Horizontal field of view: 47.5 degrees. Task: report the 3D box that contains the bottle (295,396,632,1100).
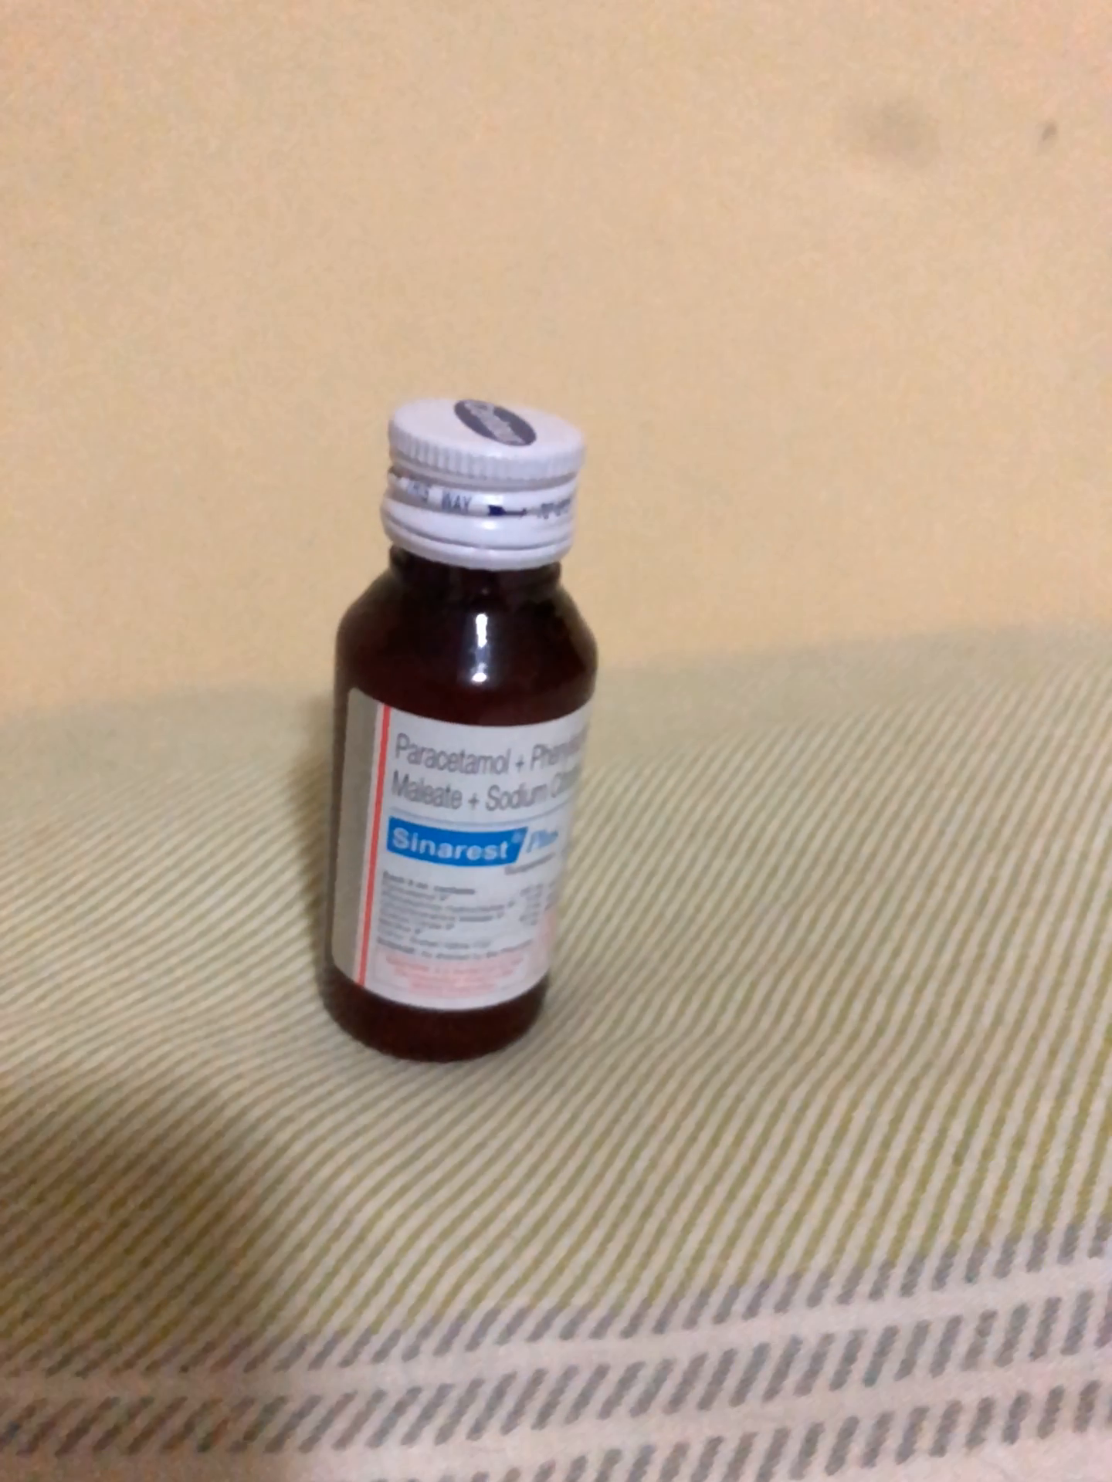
[{"bbox_3d":[-0.016,0.004,0.191,0.040,0.100,0.037,4,30,-2],"label":"bottle"}]
